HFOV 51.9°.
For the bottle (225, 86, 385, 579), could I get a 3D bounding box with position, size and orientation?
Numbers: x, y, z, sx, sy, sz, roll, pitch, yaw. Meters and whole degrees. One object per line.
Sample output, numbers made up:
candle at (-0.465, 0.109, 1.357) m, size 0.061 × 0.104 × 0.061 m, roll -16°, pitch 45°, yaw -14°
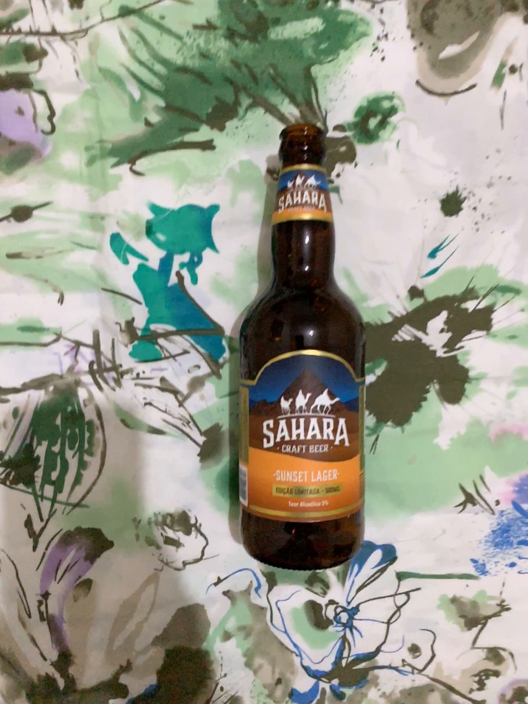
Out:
bottle at (0.019, -0.009, 0.313) m, size 0.080 × 0.070 × 0.250 m, roll -1°, pitch 94°, yaw -4°
